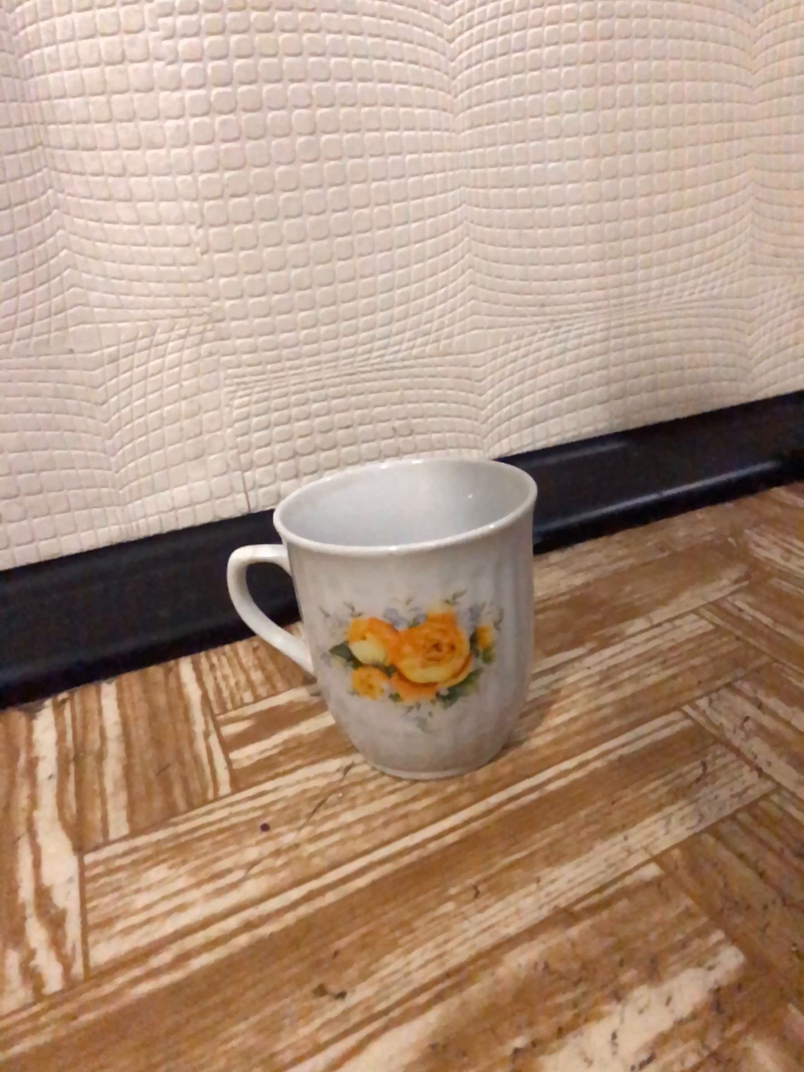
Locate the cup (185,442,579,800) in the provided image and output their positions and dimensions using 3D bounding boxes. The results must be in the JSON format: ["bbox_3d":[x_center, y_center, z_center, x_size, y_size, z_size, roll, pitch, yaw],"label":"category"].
[{"bbox_3d":[-0.003,0.021,0.279,0.097,0.069,0.095,-6,20,2],"label":"cup"}]
